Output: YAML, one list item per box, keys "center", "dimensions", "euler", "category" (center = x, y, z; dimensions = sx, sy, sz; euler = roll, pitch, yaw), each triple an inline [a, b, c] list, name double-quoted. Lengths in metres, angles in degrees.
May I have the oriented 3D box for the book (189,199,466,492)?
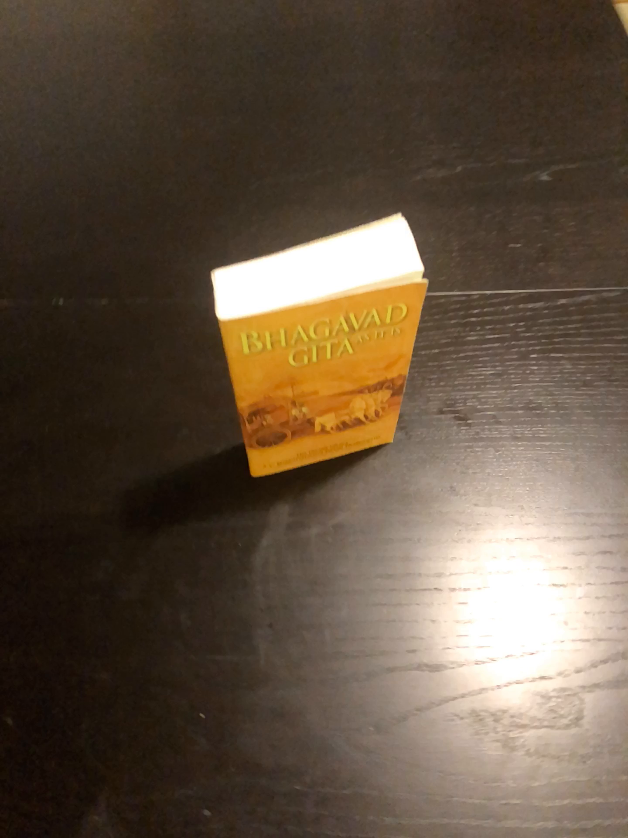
- center: [0.007, -0.033, 0.418]
  dimensions: [0.126, 0.174, 0.059]
  euler: [-14, 61, -6]
  category: "book"
